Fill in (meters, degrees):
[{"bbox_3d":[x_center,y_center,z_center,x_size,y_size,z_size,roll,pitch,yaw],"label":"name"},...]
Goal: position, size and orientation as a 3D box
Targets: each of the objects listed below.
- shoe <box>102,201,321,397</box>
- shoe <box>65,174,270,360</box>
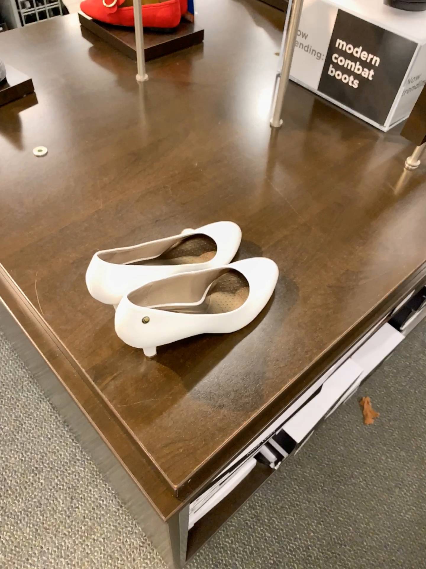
[{"bbox_3d":[0.004,0.012,0.560,0.260,0.110,0.090,-31,61,-25],"label":"shoe"},{"bbox_3d":[-0.051,-0.031,0.597,0.260,0.110,0.090,-35,62,-27],"label":"shoe"}]
